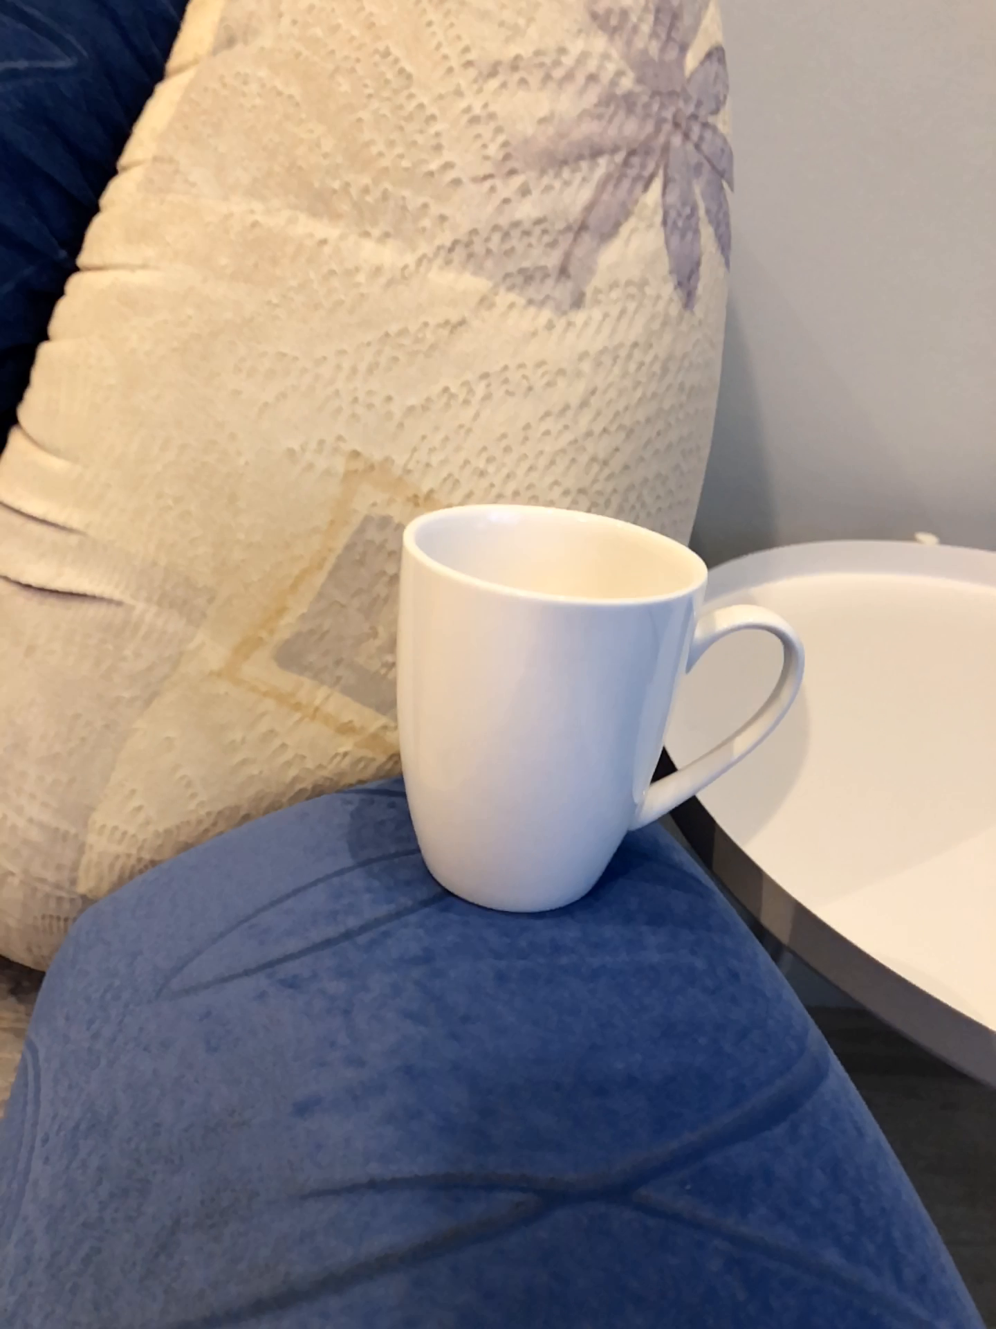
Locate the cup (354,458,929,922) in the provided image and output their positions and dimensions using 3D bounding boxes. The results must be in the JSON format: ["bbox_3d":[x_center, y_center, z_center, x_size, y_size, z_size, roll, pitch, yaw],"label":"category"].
[{"bbox_3d":[0.025,0.003,0.273,0.110,0.079,0.080,0,28,-14],"label":"cup"}]
